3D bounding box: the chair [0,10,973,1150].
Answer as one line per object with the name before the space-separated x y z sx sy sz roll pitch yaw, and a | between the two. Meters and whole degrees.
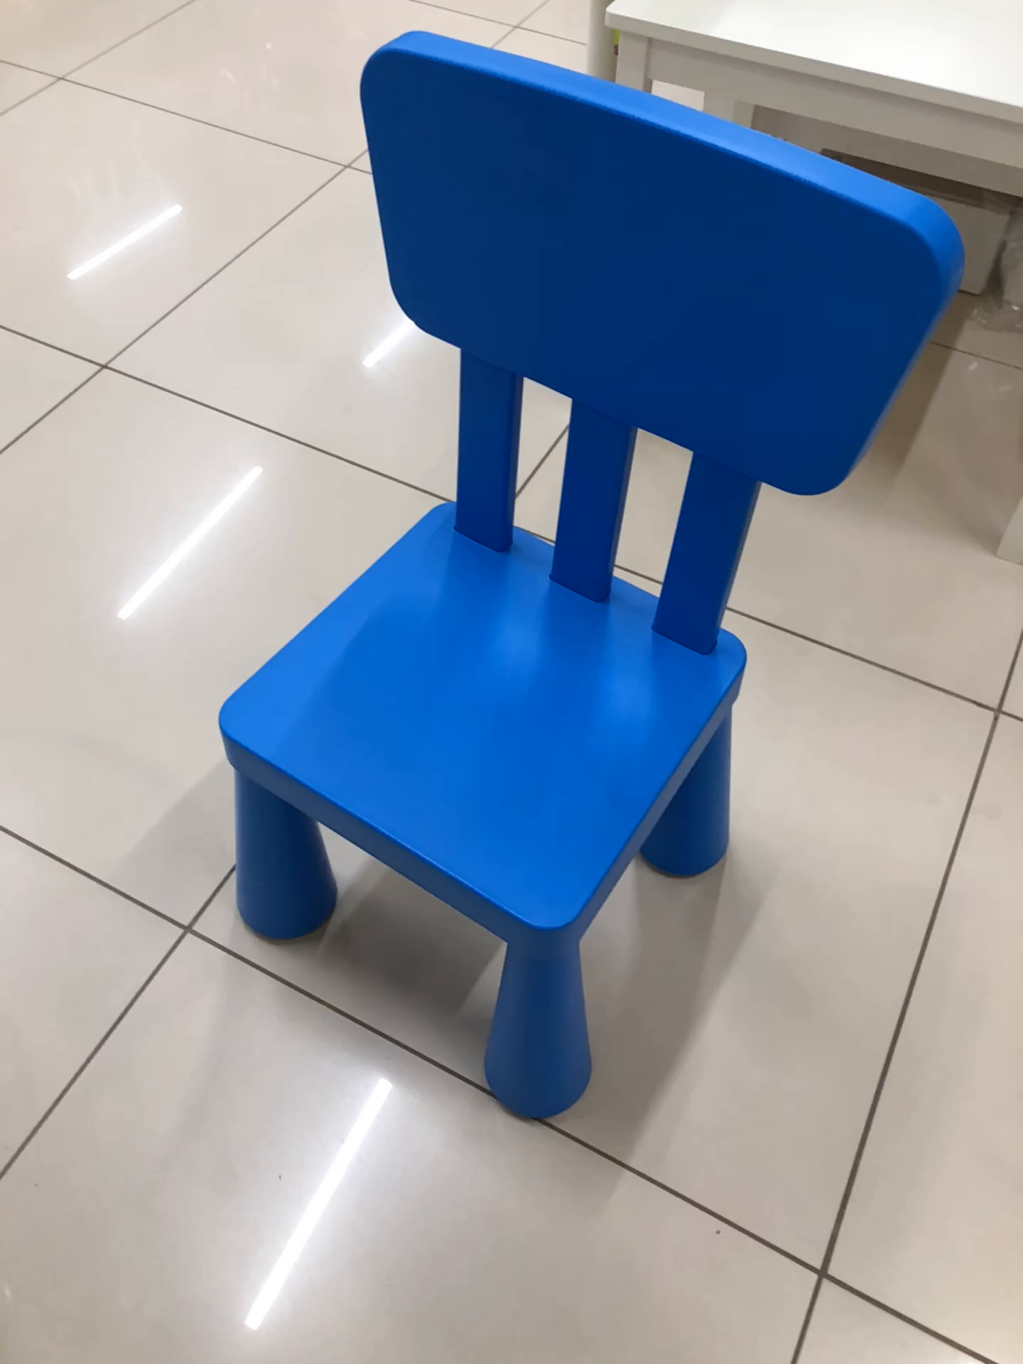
chair | -0.016 -0.016 0.804 0.356 0.666 0.356 29 57 19
